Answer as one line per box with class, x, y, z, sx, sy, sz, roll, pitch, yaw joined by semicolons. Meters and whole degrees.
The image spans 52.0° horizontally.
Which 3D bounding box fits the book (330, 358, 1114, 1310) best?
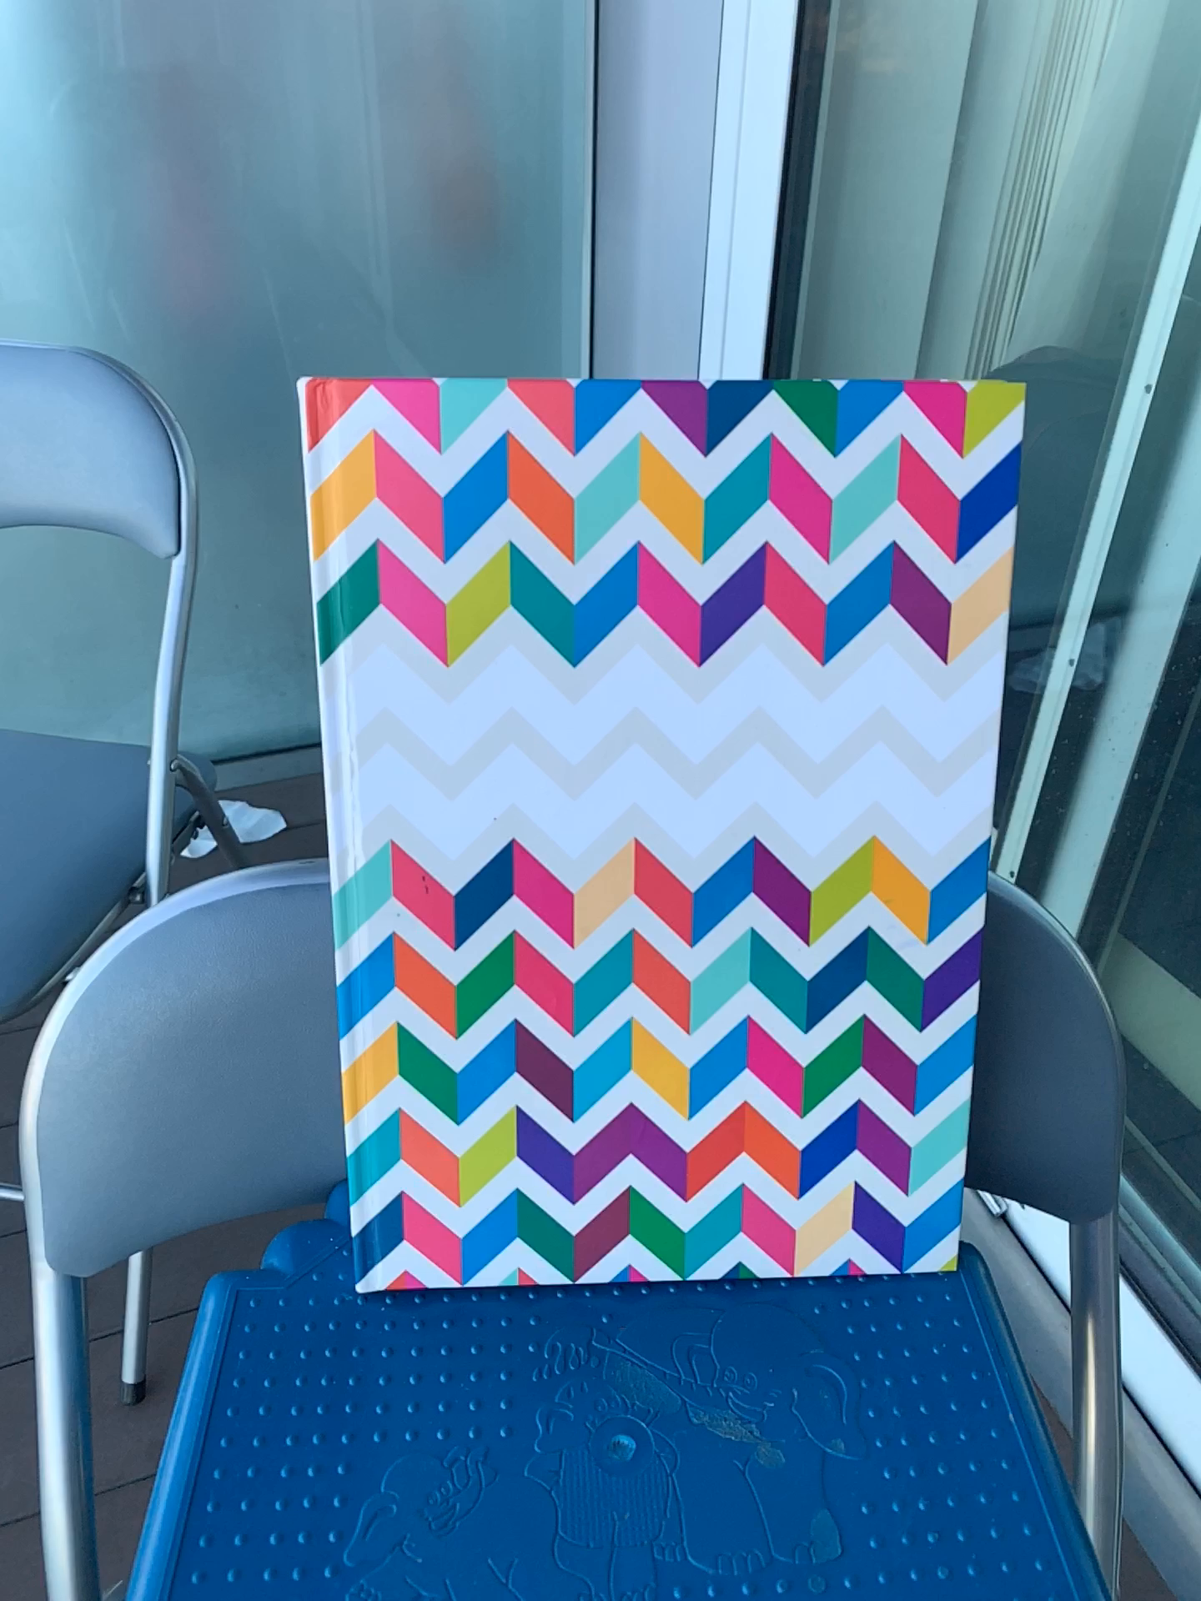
book;0.031;0.020;0.378;0.211;0.289;0.030;0;14;-1
